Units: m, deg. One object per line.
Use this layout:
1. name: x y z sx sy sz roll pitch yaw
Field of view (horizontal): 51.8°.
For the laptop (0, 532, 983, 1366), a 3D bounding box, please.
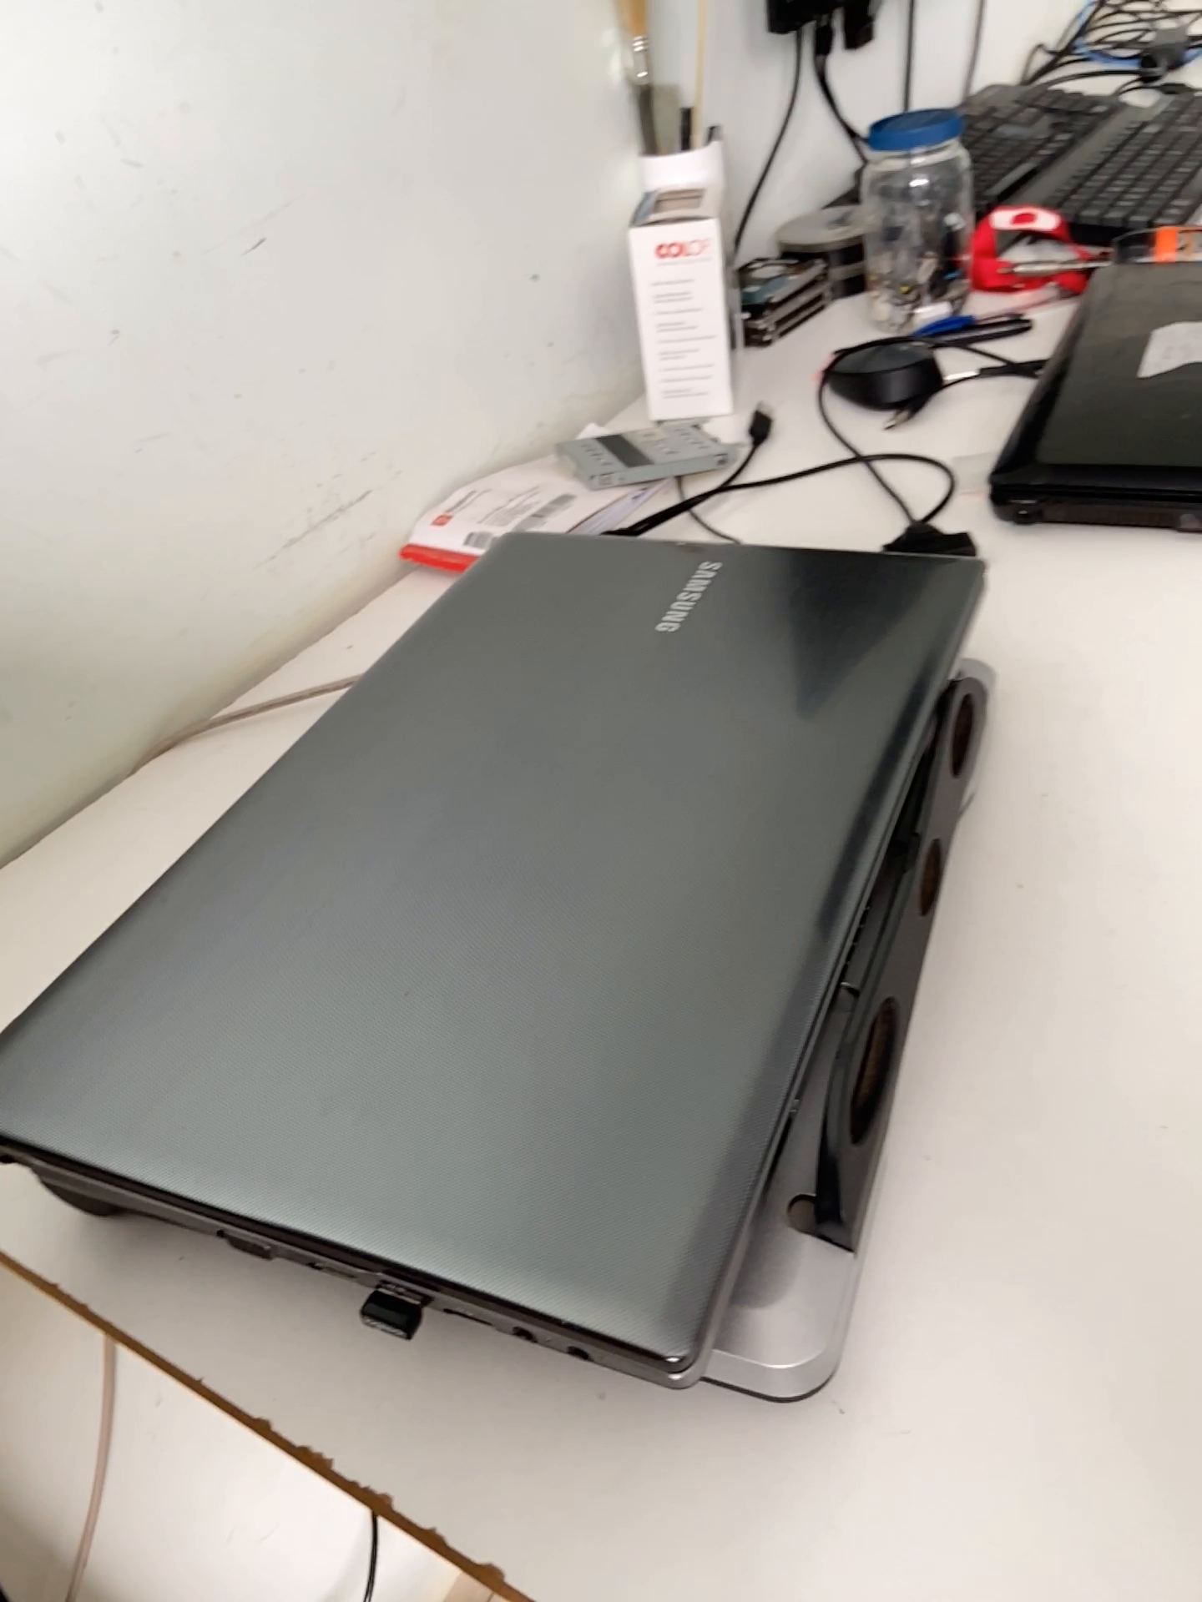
1. laptop: -0.015 -0.006 0.449 0.236 0.005 0.375 8 41 24
